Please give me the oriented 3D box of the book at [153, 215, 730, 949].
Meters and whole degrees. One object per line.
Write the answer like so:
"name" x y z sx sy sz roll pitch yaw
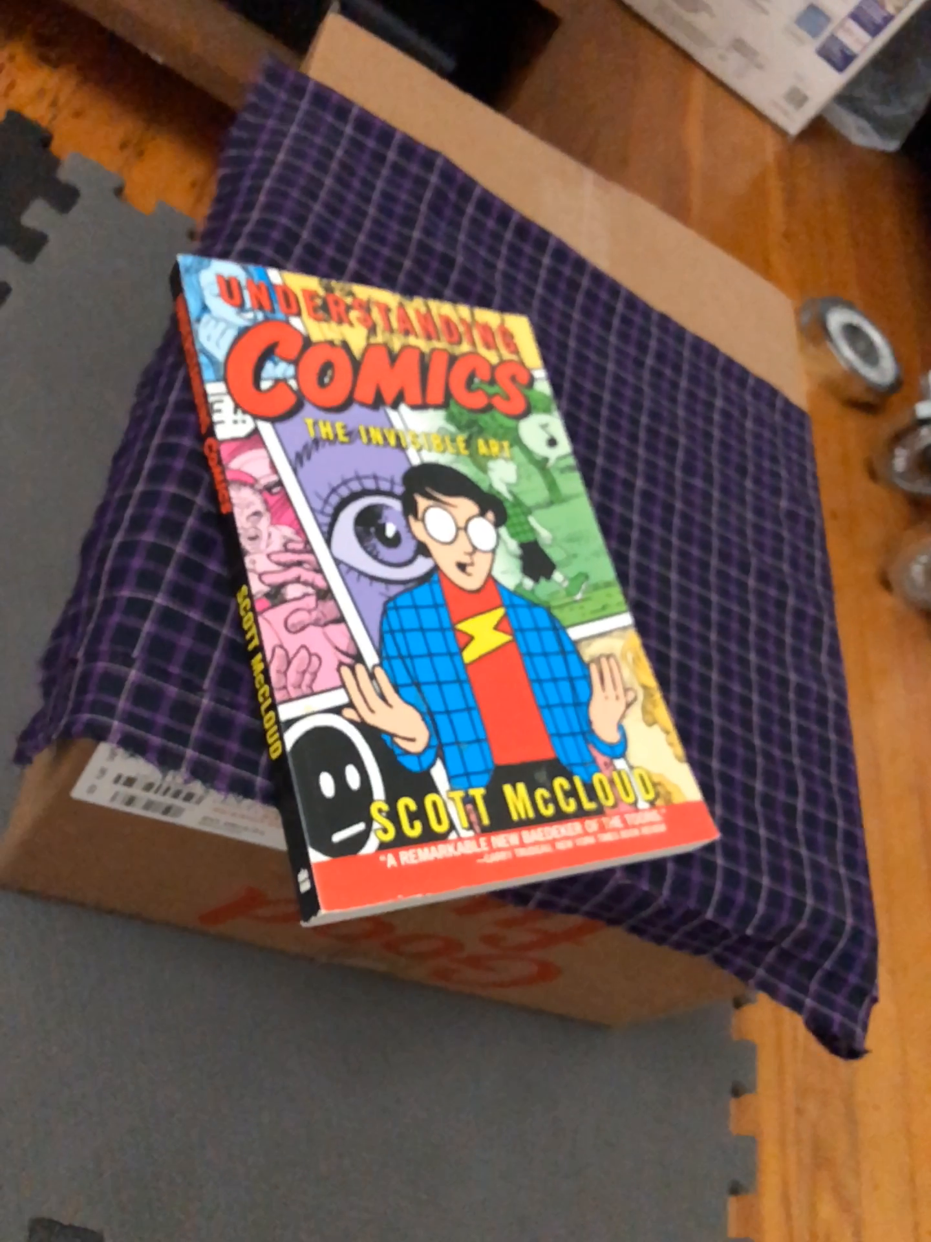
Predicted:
"book" -0.012 -0.029 0.398 0.171 0.020 0.270 -1 63 -35
